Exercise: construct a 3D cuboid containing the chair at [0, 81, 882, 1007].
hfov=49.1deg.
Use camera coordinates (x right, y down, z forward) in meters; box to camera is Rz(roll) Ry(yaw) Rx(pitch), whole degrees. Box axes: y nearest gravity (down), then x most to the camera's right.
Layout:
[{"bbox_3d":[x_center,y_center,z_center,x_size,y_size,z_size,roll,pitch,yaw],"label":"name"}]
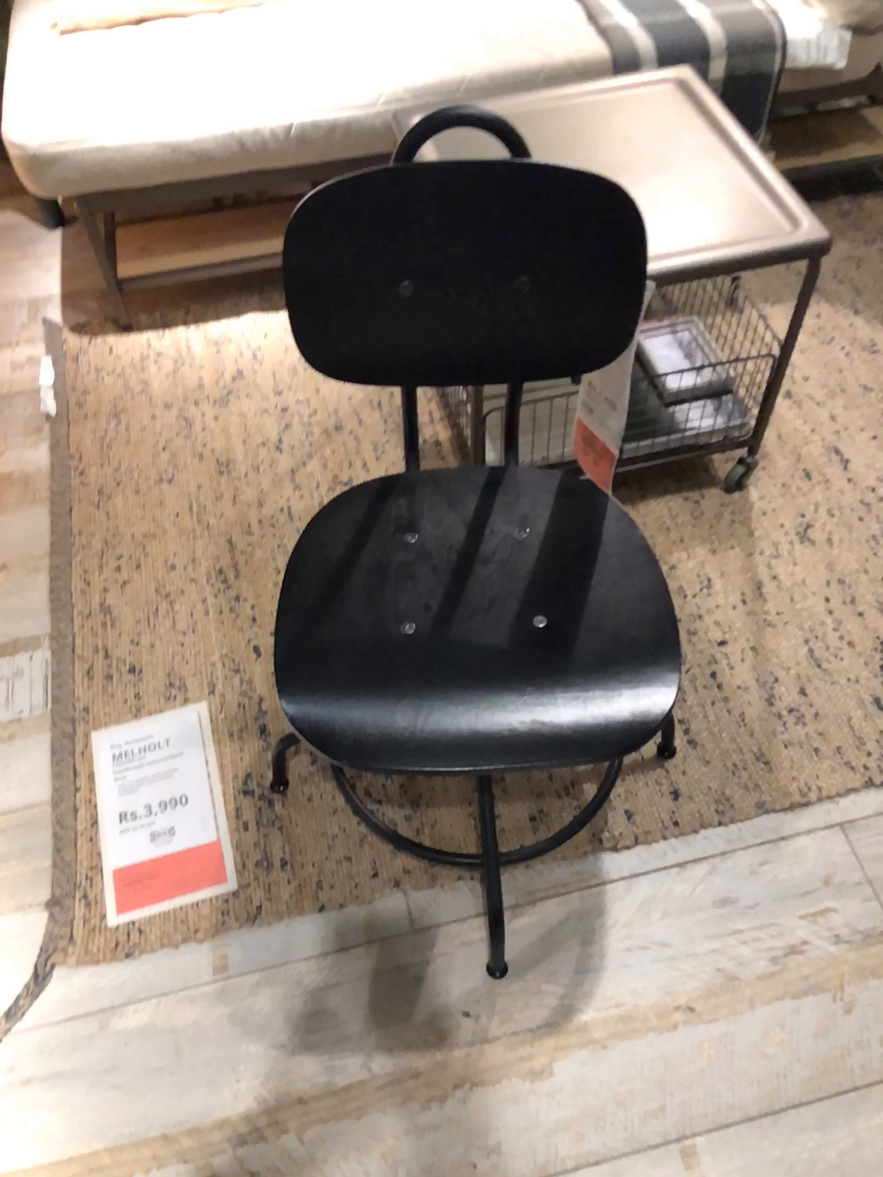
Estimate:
[{"bbox_3d":[0.025,0.018,1.014,0.590,0.765,0.583,-4,54,0],"label":"chair"}]
